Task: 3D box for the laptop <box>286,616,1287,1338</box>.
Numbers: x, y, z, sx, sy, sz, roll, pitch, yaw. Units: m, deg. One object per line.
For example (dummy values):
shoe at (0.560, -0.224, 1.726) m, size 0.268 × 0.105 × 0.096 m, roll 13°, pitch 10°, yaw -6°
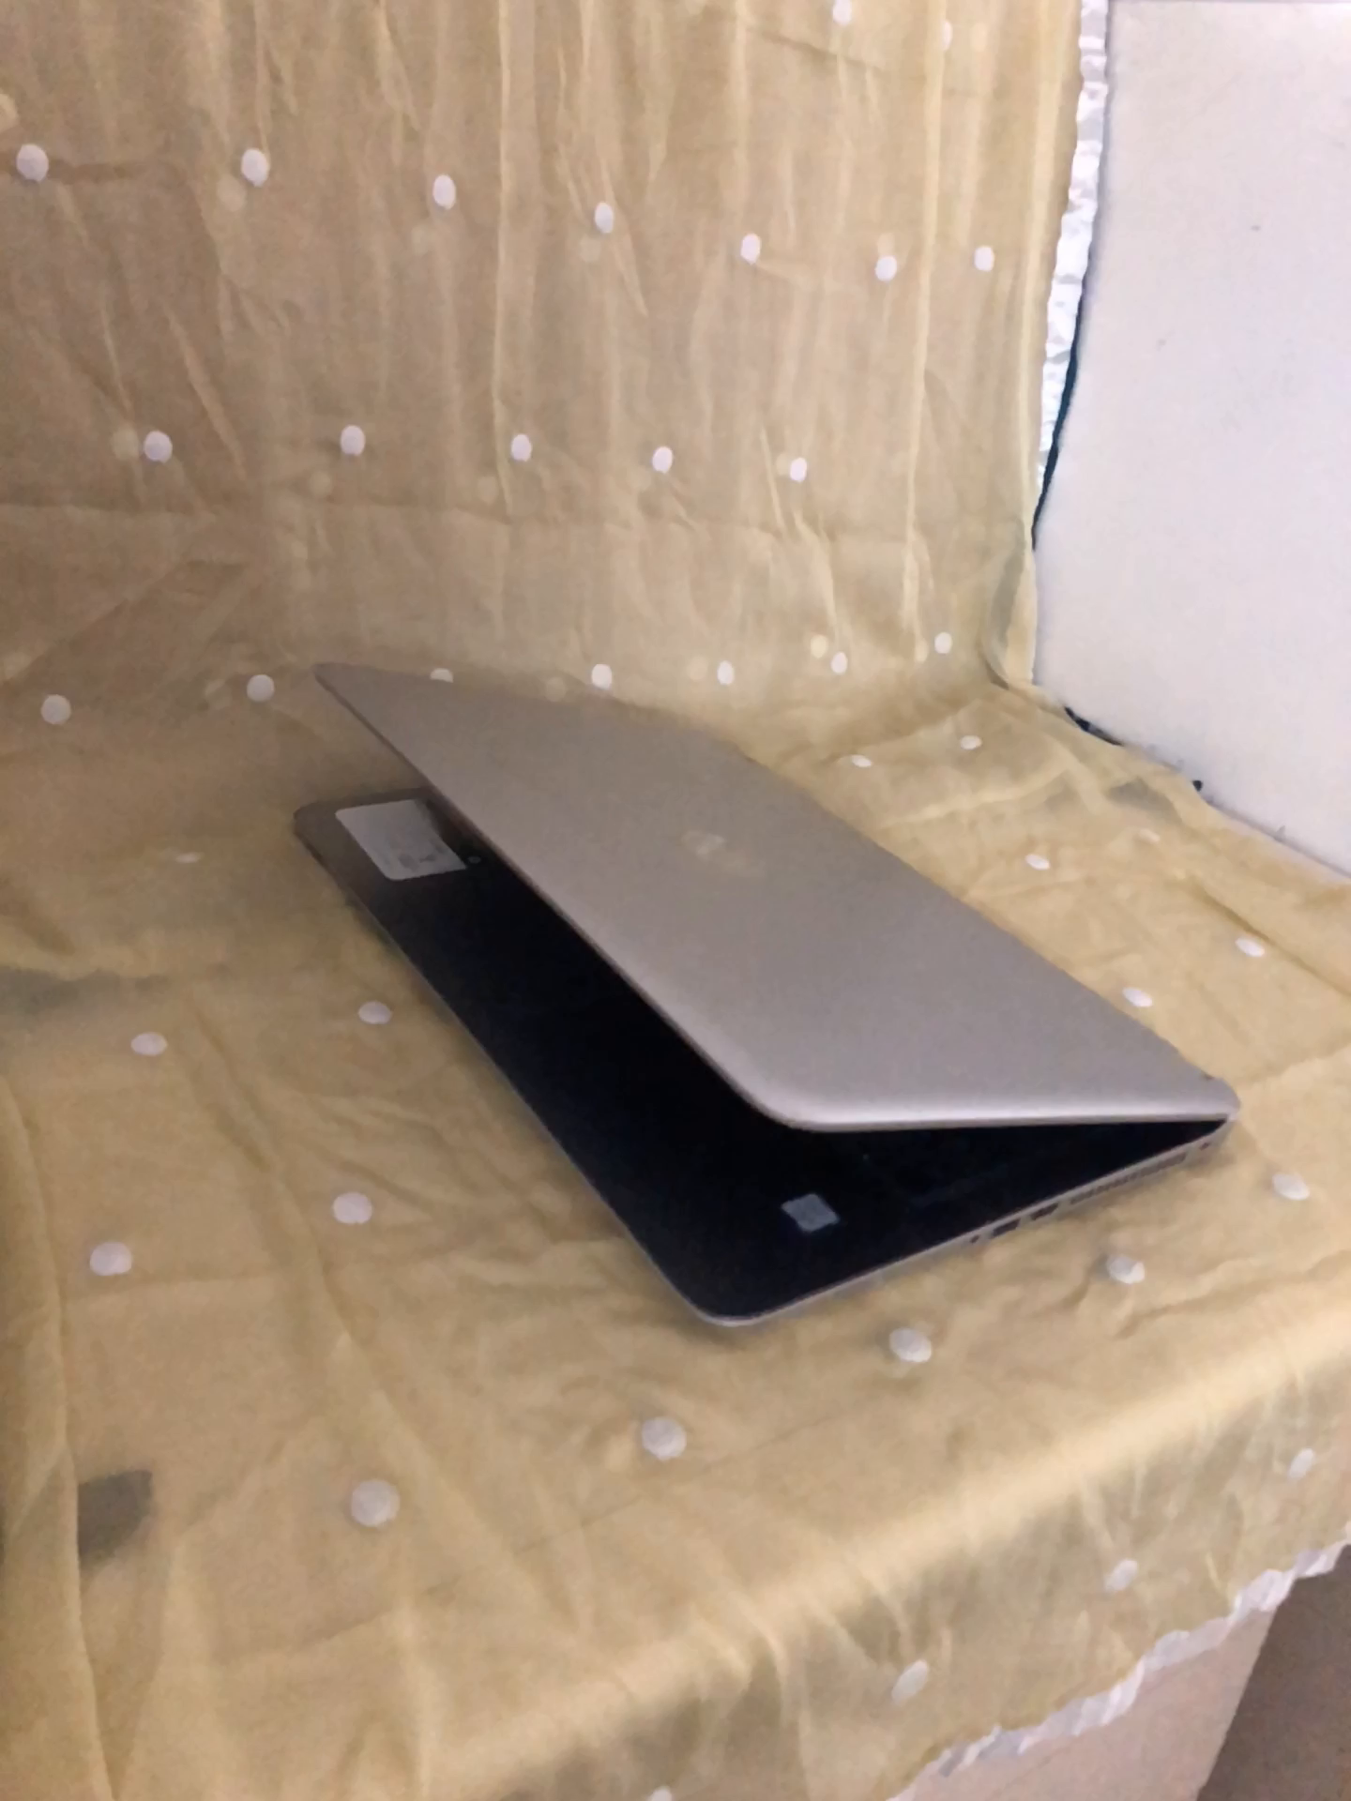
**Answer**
laptop at (0.020, -0.011, 0.617) m, size 0.244 × 0.077 × 0.366 m, roll -12°, pitch 34°, yaw -32°
